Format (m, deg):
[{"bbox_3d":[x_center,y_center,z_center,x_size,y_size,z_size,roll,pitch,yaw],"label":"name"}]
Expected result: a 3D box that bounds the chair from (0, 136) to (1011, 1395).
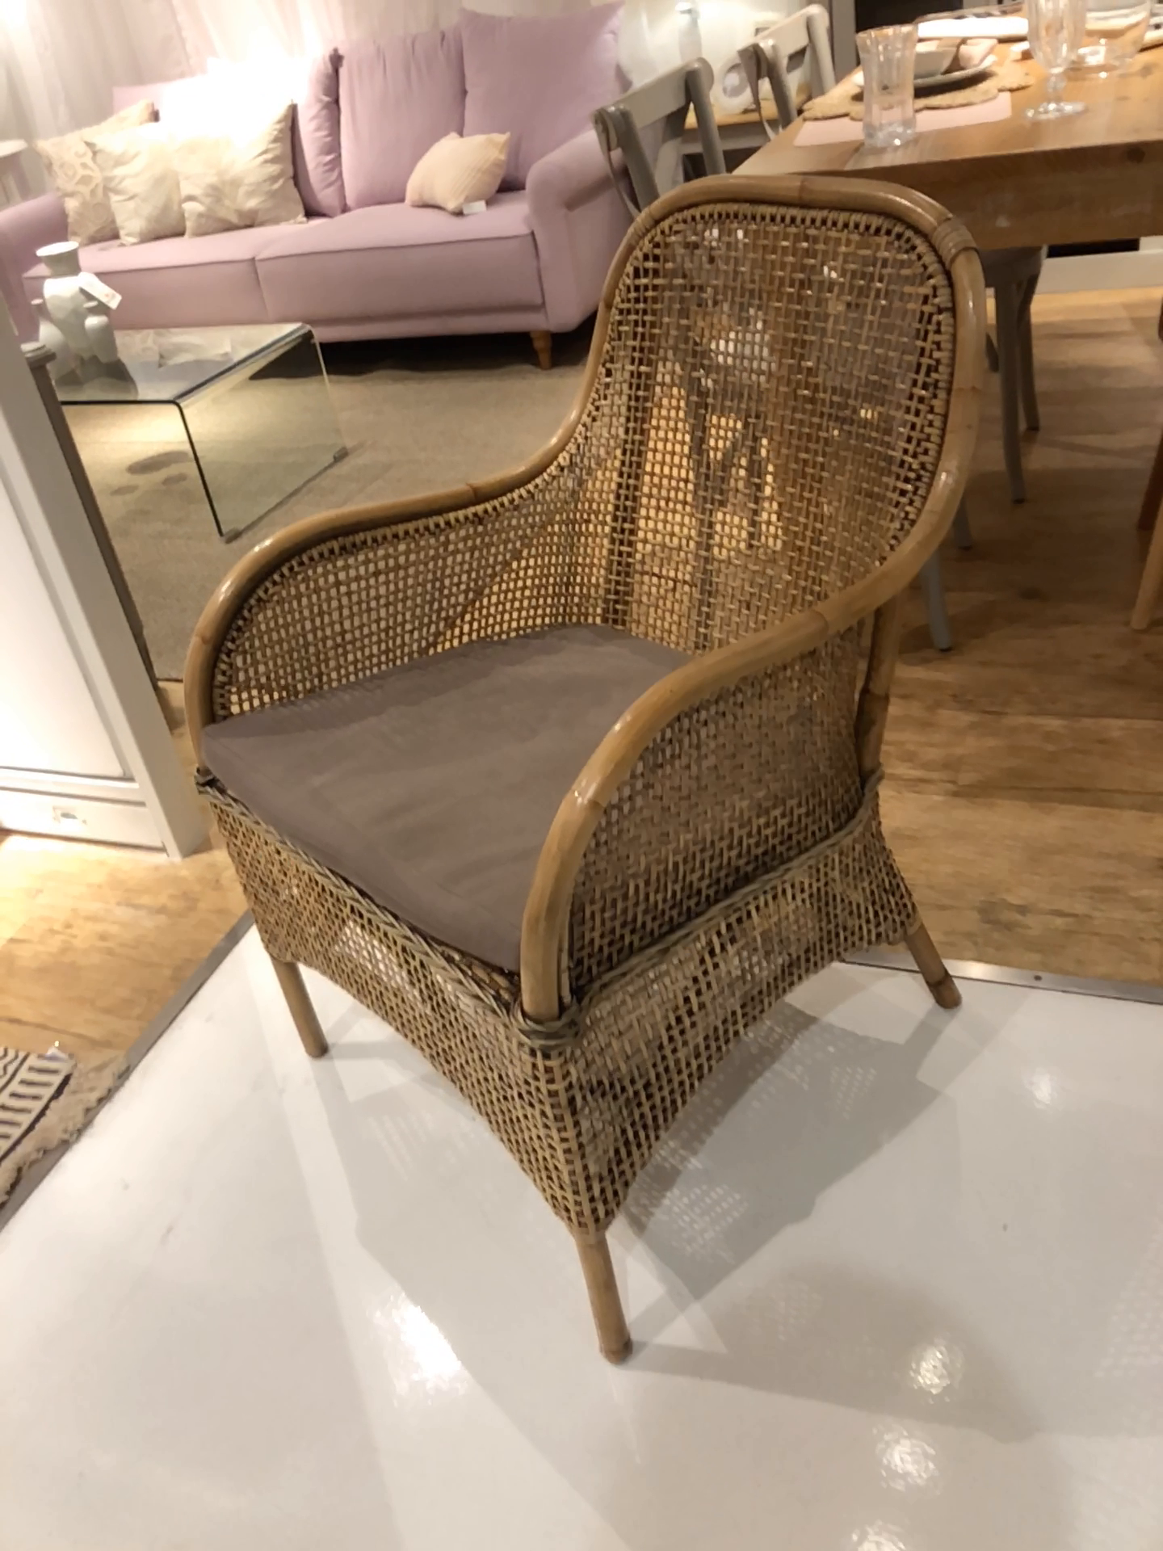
[{"bbox_3d":[-0.008,-0.053,1.242,0.622,0.903,0.543,-33,39,-31],"label":"chair"}]
